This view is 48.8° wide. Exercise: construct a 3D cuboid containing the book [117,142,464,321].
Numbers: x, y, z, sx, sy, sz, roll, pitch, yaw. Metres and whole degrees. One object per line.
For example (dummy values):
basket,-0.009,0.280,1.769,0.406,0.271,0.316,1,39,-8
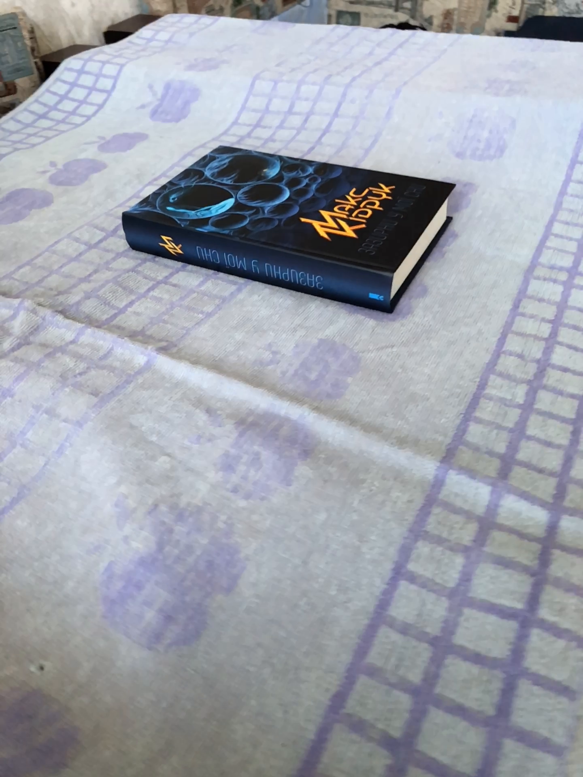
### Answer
book,0.001,-0.131,0.492,0.220,0.035,0.141,18,45,22
